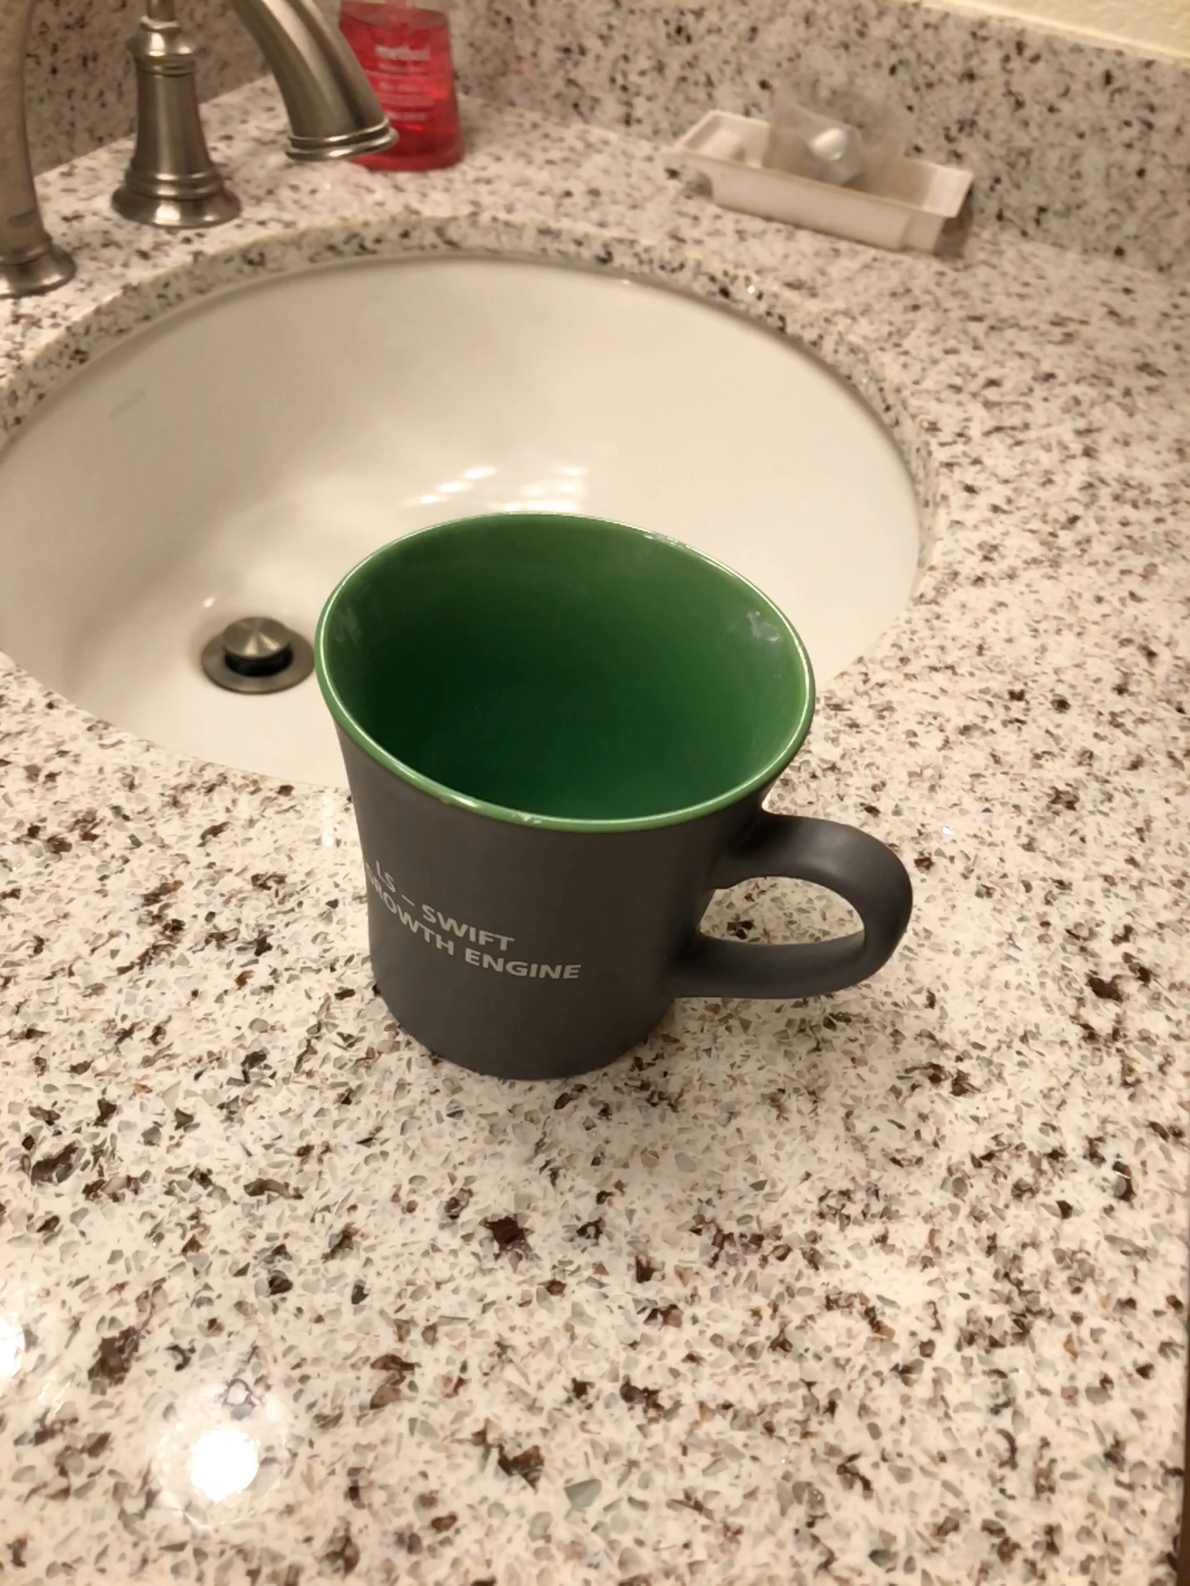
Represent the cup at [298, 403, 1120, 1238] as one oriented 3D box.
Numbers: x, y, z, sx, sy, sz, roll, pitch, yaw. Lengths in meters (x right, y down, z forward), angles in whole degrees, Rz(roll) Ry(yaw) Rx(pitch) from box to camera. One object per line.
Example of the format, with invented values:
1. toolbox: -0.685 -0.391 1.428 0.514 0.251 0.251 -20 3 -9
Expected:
1. cup: 0.021 0.002 0.300 0.140 0.109 0.101 24 45 15
